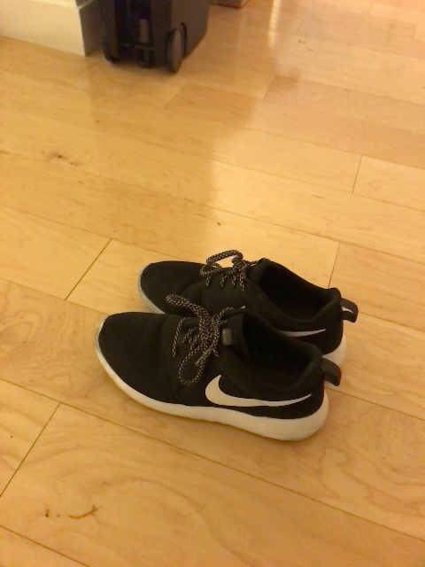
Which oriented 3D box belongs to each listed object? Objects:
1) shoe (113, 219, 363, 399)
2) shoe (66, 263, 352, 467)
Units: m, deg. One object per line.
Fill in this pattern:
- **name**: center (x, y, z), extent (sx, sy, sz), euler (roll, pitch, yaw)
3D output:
- **shoe**: center (0.029, 0.025, 0.570), extent (0.270, 0.089, 0.111), euler (19, 50, 12)
- **shoe**: center (-0.003, 0.083, 0.503), extent (0.270, 0.089, 0.111), euler (17, 49, 10)
